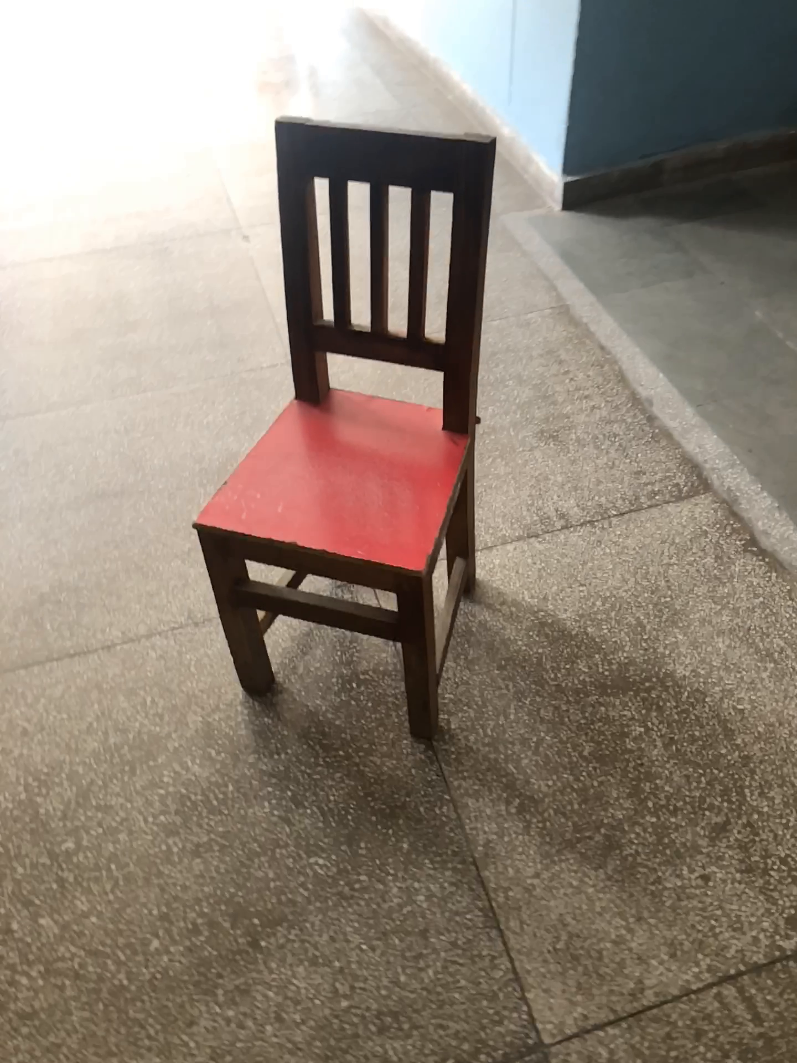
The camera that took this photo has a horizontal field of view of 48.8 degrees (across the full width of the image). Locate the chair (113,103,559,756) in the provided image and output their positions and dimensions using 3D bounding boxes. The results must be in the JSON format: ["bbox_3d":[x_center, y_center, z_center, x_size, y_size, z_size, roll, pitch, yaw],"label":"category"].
[{"bbox_3d":[-0.043,-0.125,1.353,0.400,0.817,0.481,12,47,12],"label":"chair"}]
